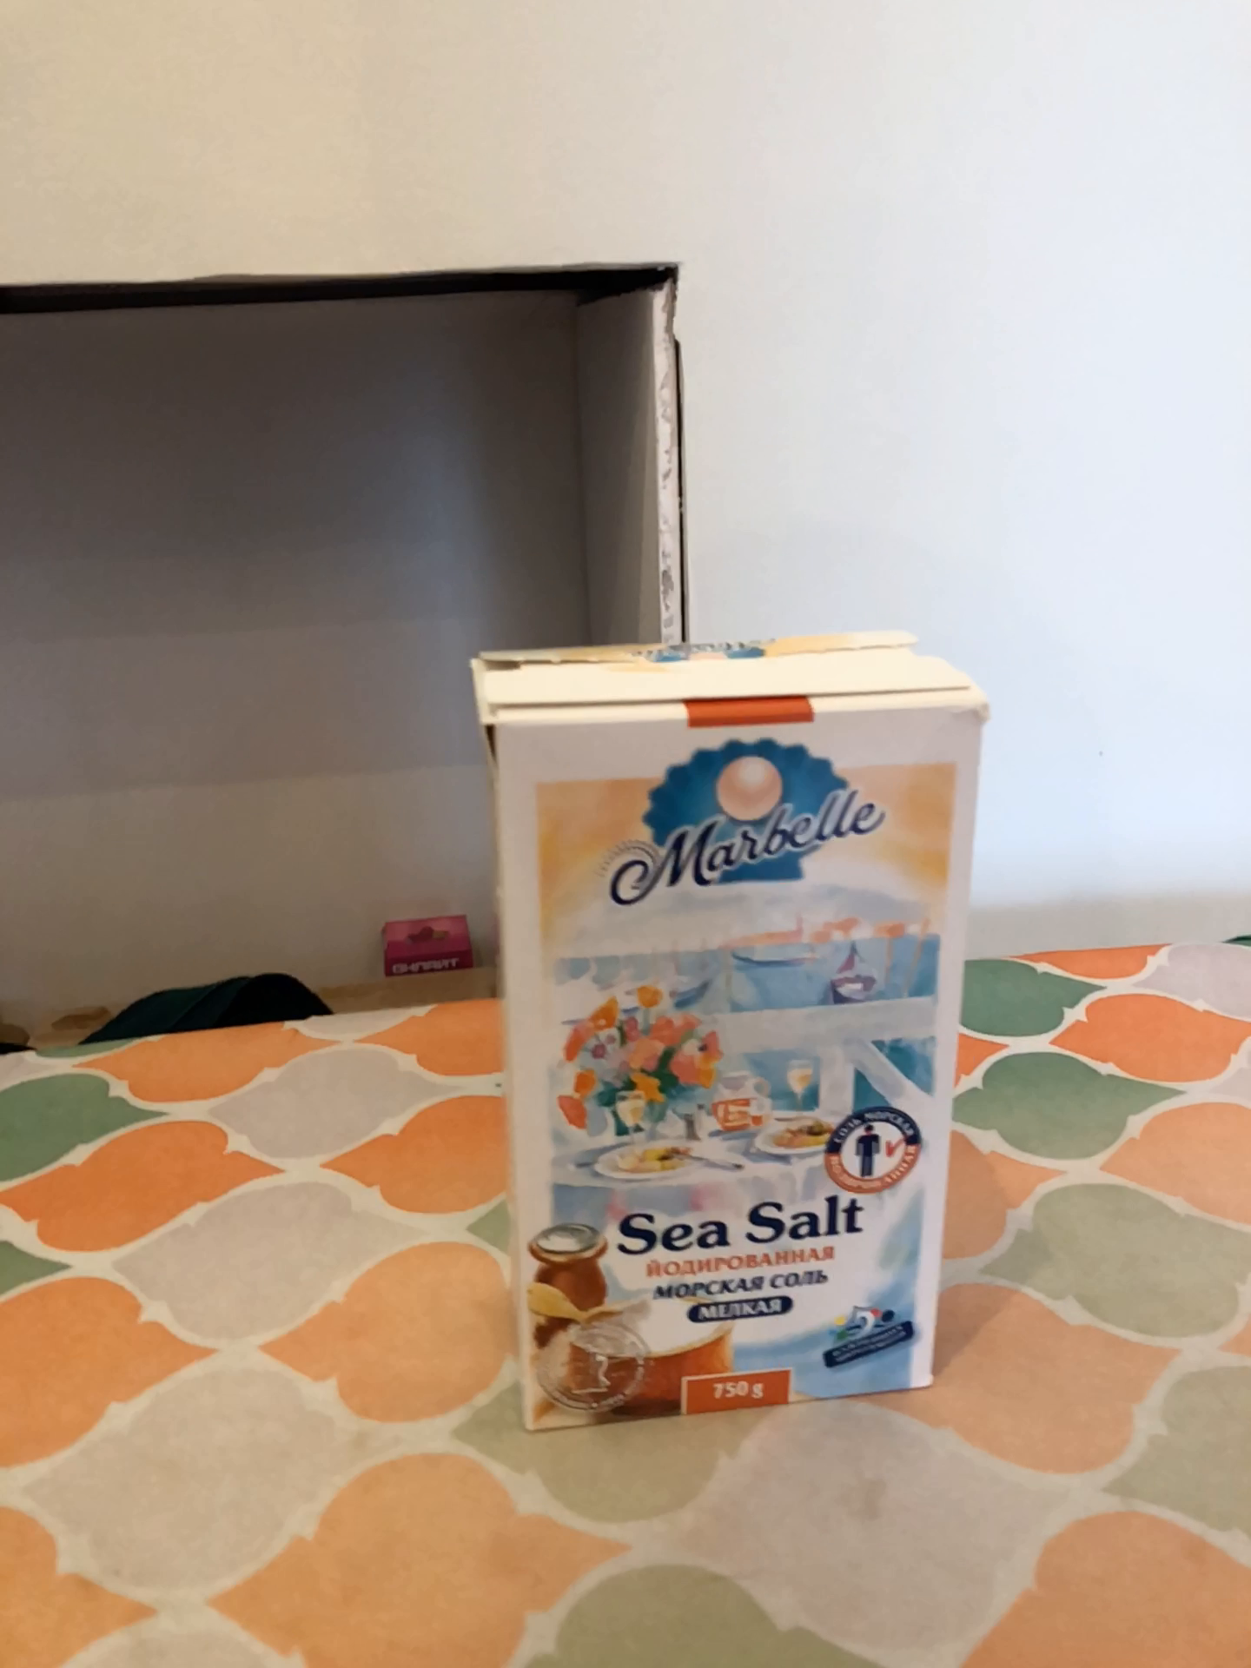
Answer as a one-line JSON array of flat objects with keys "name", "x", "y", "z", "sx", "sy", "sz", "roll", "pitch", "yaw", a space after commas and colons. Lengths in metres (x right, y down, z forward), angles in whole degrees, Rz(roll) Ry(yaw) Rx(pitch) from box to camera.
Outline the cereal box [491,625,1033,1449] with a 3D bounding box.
[{"name": "cereal box", "x": 0.024, "y": 0.045, "z": 0.311, "sx": 0.100, "sy": 0.169, "sz": 0.060, "roll": -3, "pitch": 20, "yaw": -7}]
